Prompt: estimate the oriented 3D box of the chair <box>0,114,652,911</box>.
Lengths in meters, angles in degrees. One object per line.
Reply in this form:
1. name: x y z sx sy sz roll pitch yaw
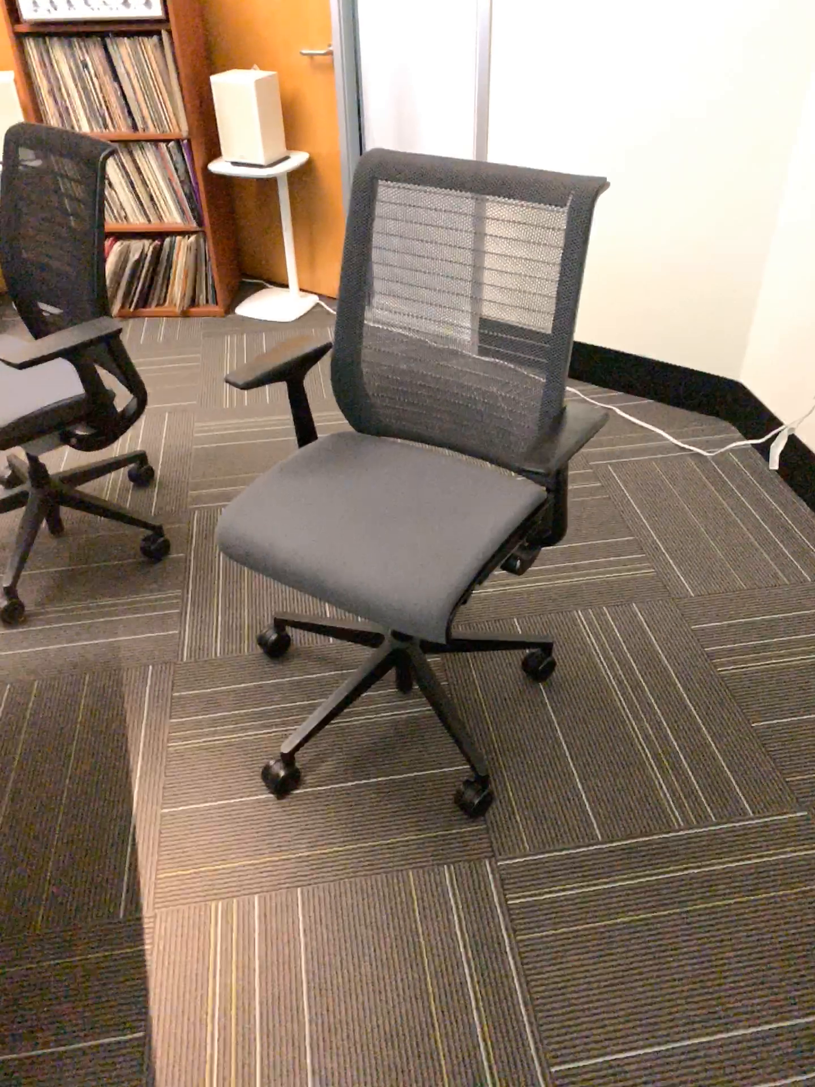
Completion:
1. chair: -0.118 -0.099 1.601 0.792 1.113 0.803 18 42 23
